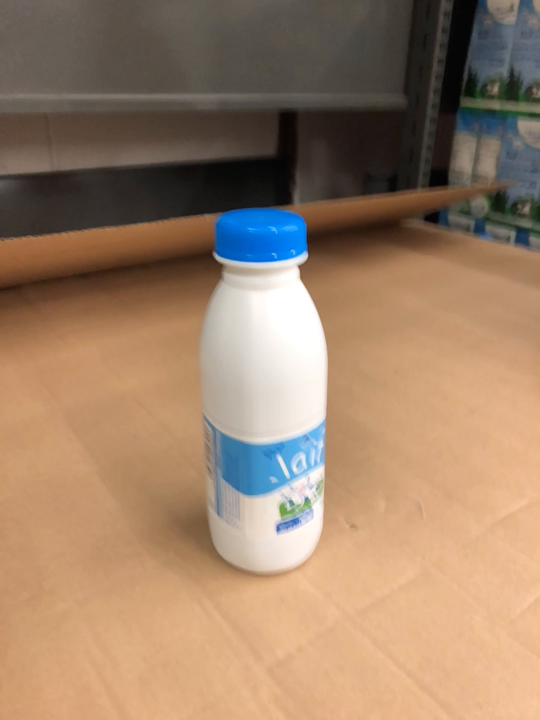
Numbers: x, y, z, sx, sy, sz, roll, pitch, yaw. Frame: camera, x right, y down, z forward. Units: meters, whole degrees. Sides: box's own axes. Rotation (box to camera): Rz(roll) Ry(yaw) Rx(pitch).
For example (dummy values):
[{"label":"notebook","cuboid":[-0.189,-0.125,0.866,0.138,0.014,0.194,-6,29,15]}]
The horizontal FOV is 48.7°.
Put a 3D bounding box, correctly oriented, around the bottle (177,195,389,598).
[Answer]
[{"label":"bottle","cuboid":[0.002,0.018,0.316,0.070,0.189,0.070,1,25,-1]}]
